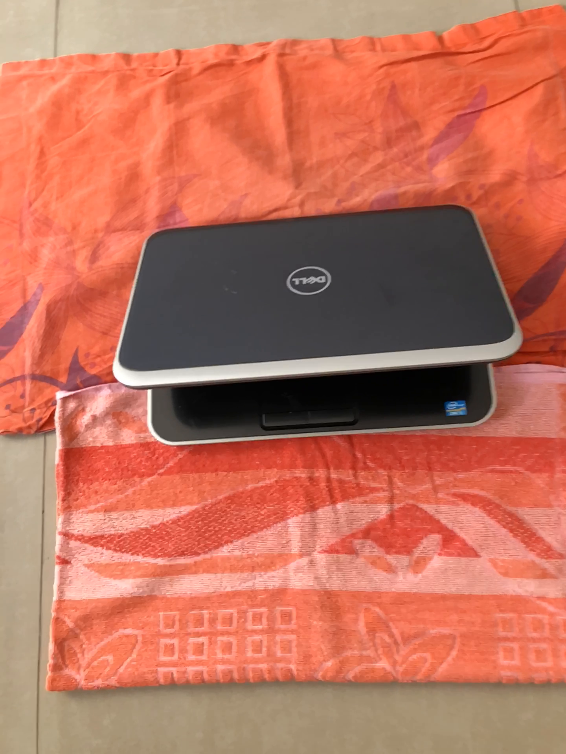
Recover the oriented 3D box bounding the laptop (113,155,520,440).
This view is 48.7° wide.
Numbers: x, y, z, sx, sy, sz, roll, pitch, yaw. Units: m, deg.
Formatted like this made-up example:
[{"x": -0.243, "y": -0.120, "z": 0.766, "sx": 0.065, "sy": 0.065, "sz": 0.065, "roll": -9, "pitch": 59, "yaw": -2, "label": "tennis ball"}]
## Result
[{"x": 0.027, "y": -0.071, "z": 0.627, "sx": 0.345, "sy": 0.129, "sz": 0.241, "roll": -3, "pitch": 75, "yaw": 3, "label": "laptop"}]
